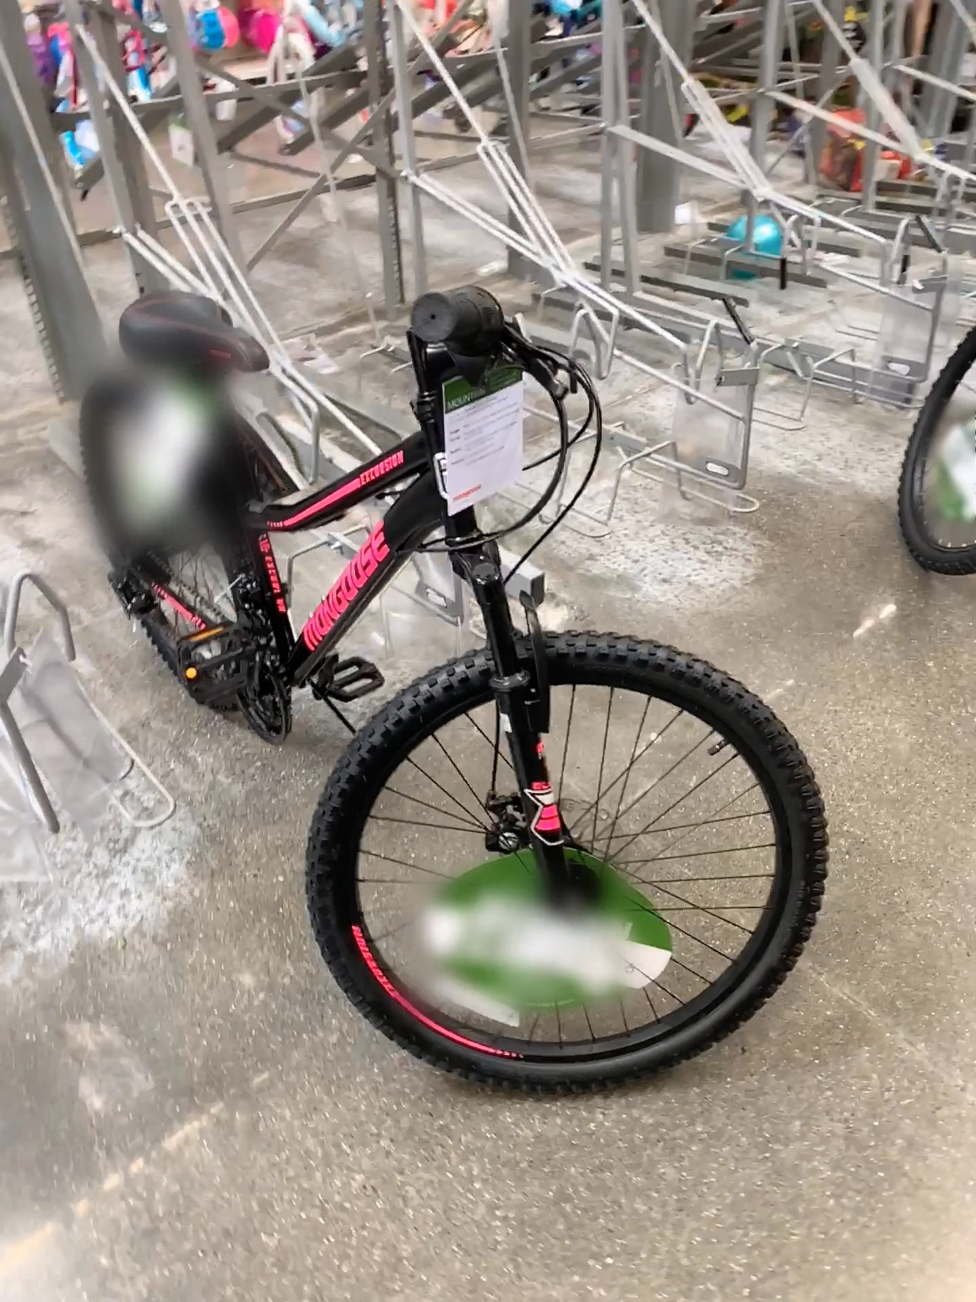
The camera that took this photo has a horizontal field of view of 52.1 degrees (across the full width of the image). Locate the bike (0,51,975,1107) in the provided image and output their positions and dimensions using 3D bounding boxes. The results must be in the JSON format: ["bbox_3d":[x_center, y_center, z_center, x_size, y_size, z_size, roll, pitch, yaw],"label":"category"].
[{"bbox_3d":[-0.183,-0.226,1.391,1.403,0.963,0.641,24,45,32],"label":"bike"}]
